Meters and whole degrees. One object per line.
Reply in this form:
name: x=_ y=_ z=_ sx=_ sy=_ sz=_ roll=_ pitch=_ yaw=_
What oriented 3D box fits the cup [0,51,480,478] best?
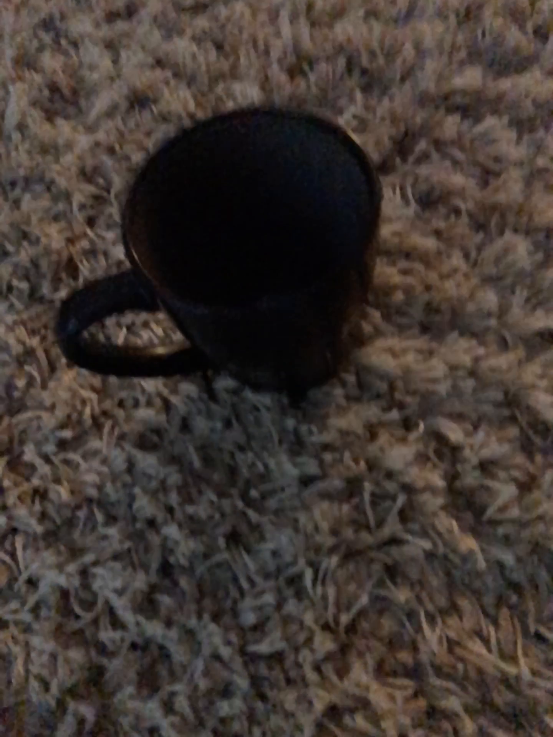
cup: x=-0.015 y=-0.035 z=0.238 sx=0.140 sy=0.090 sz=0.090 roll=-19 pitch=62 yaw=-3
